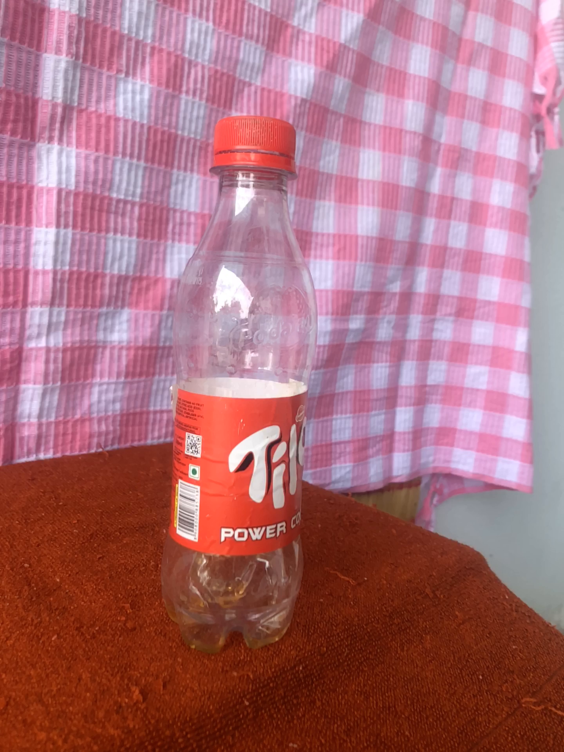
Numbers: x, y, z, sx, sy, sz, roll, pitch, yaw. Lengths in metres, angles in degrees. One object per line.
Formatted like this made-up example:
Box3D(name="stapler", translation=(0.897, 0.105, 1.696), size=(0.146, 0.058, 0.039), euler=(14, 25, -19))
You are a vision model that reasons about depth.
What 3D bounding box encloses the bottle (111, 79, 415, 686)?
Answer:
Box3D(name="bottle", translation=(-0.009, 0.001, 0.233), size=(0.060, 0.190, 0.060), euler=(9, 9, -1))
